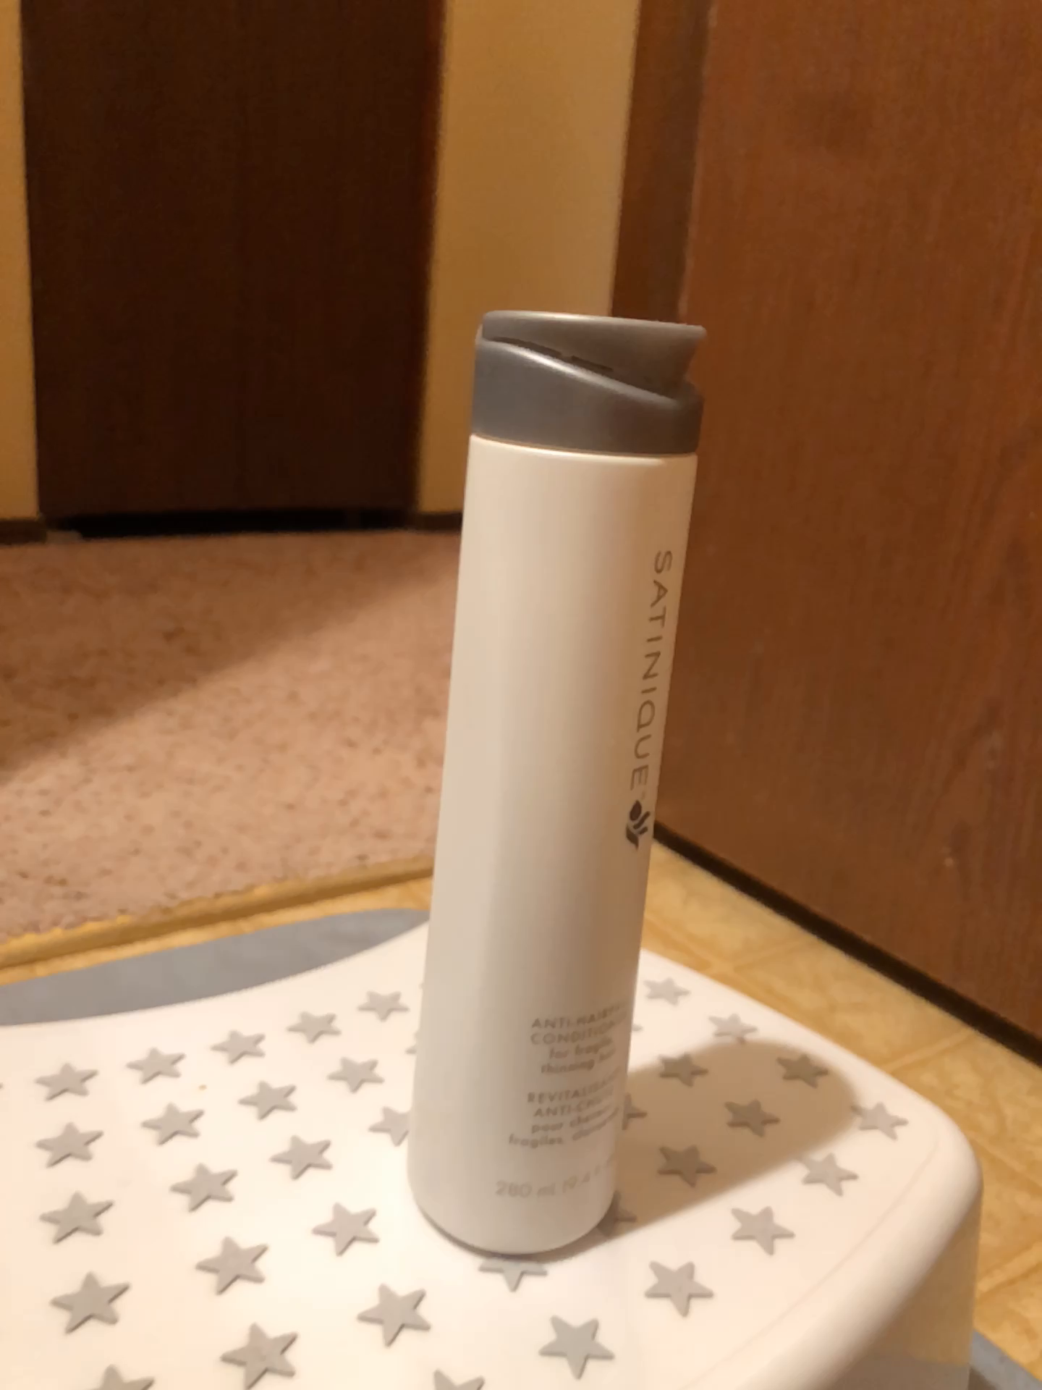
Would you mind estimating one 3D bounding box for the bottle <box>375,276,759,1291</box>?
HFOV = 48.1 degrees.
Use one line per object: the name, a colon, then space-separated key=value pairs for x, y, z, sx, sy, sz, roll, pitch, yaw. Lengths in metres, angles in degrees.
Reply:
bottle: x=0.004 y=0.021 z=0.257 sx=0.050 sy=0.210 sz=0.050 roll=4 pitch=17 yaw=-1
